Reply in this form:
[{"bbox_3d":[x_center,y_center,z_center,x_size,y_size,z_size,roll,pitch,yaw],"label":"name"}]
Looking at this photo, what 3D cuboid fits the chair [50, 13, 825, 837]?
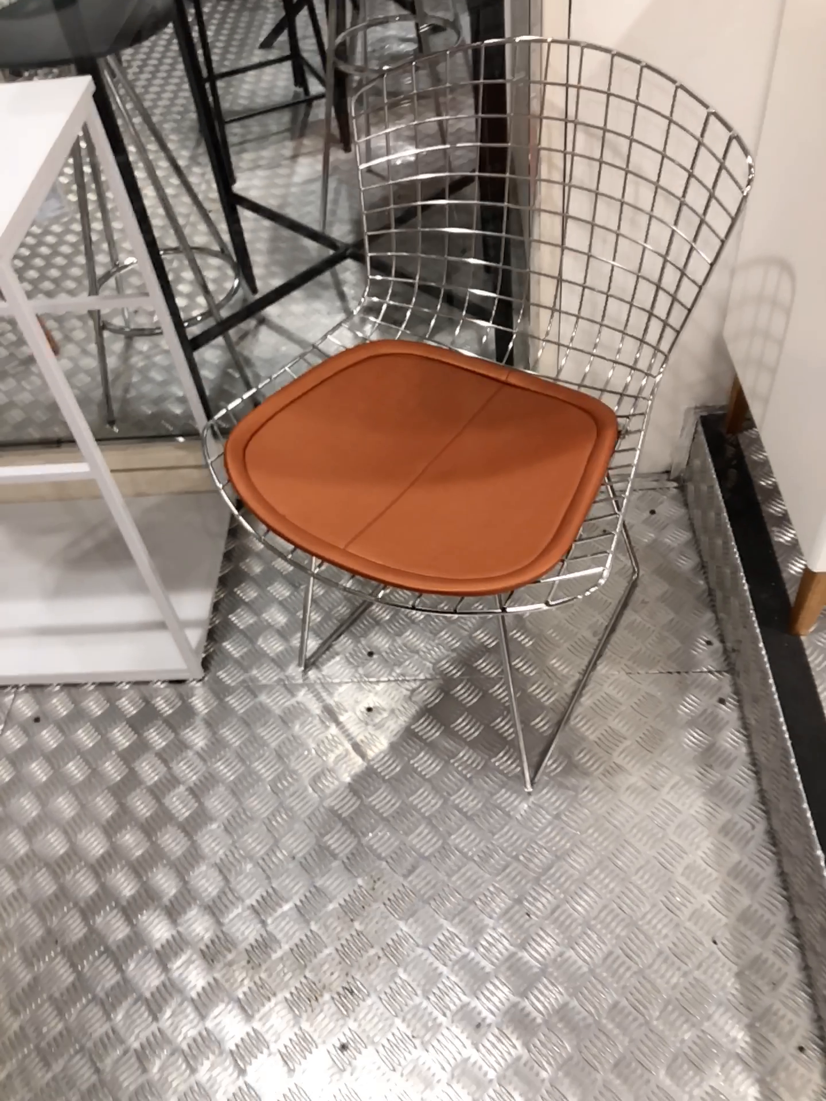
[{"bbox_3d":[0.079,-0.161,1.145,0.551,0.705,0.573,22,55,25],"label":"chair"}]
